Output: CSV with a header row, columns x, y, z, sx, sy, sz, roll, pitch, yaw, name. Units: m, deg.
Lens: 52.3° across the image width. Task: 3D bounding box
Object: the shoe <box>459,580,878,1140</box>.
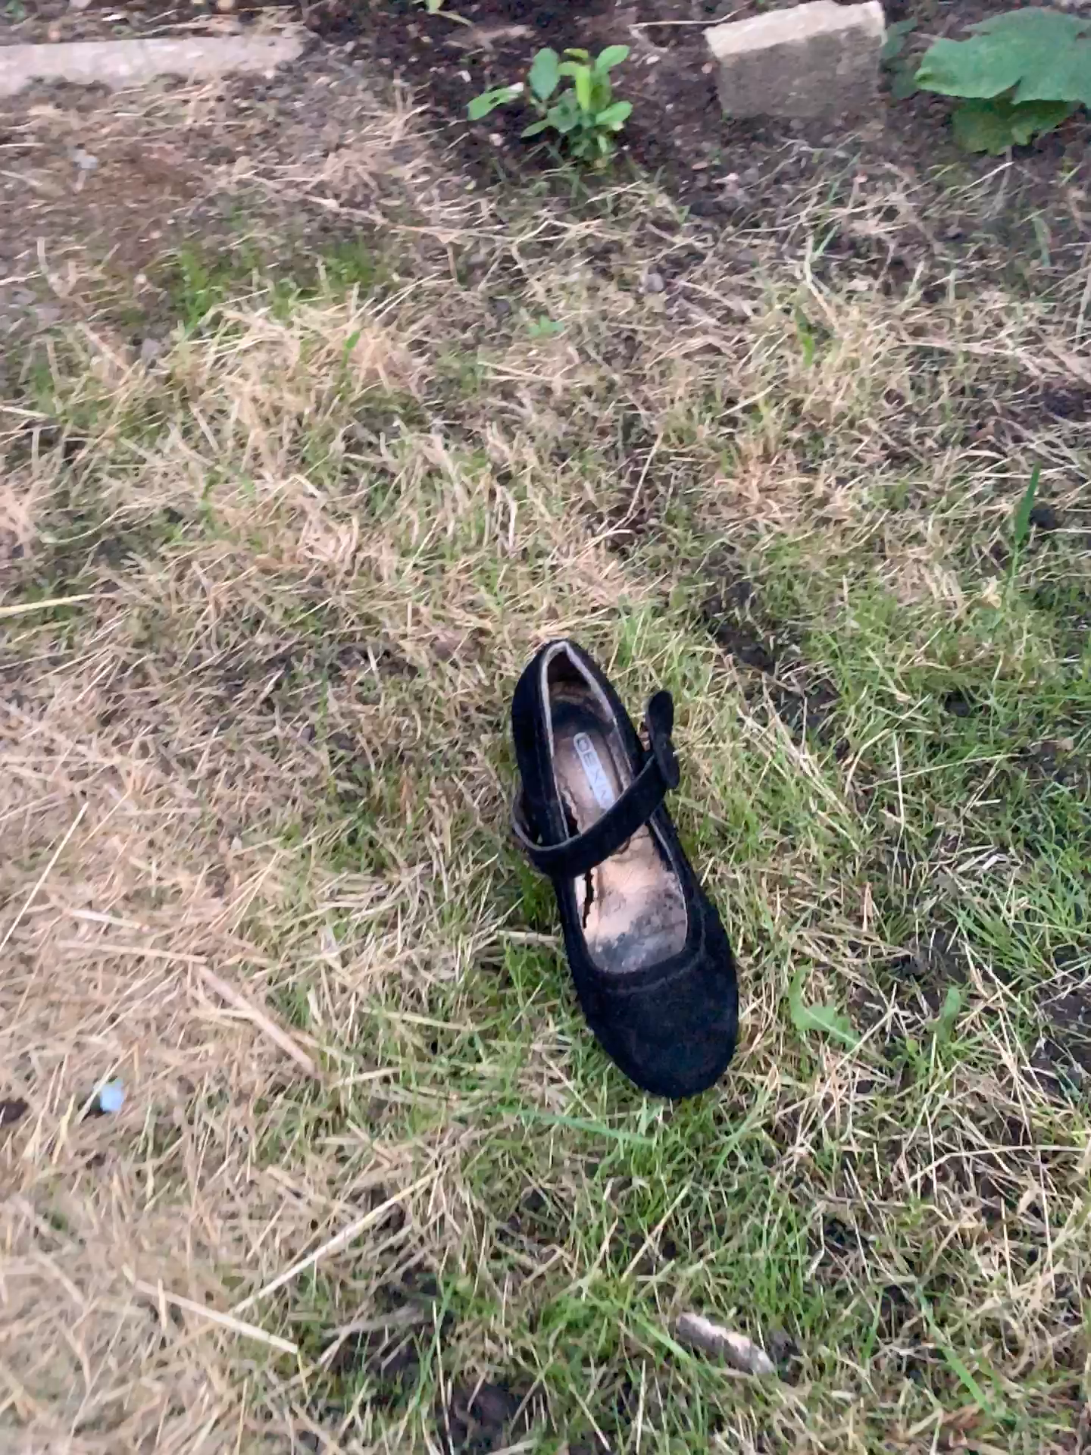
x,y,z,sx,sy,sz,roll,pitch,yaw,name
0.048,0.059,0.583,0.110,0.109,0.252,-16,54,-12,shoe
